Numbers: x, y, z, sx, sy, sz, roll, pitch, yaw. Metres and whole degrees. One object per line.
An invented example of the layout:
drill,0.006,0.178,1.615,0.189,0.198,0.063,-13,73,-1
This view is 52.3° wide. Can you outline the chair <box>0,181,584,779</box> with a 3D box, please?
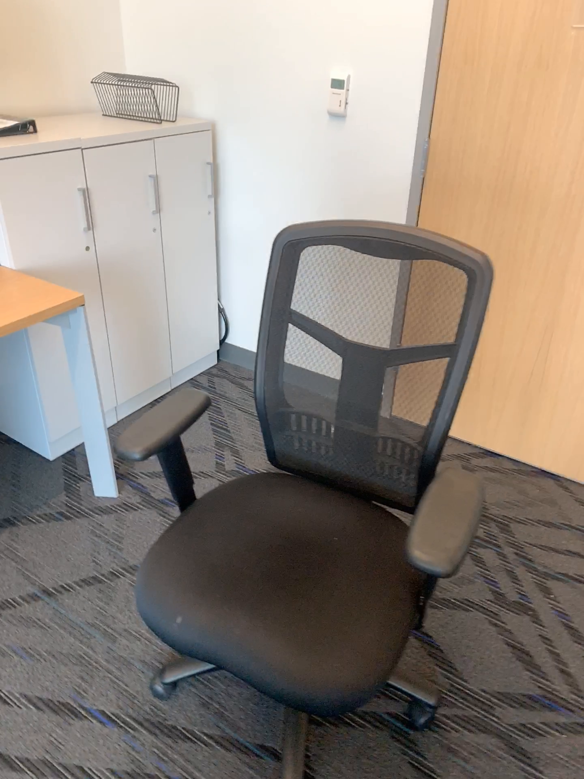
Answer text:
chair,0.038,0.198,1.196,0.661,0.992,0.724,19,34,27
